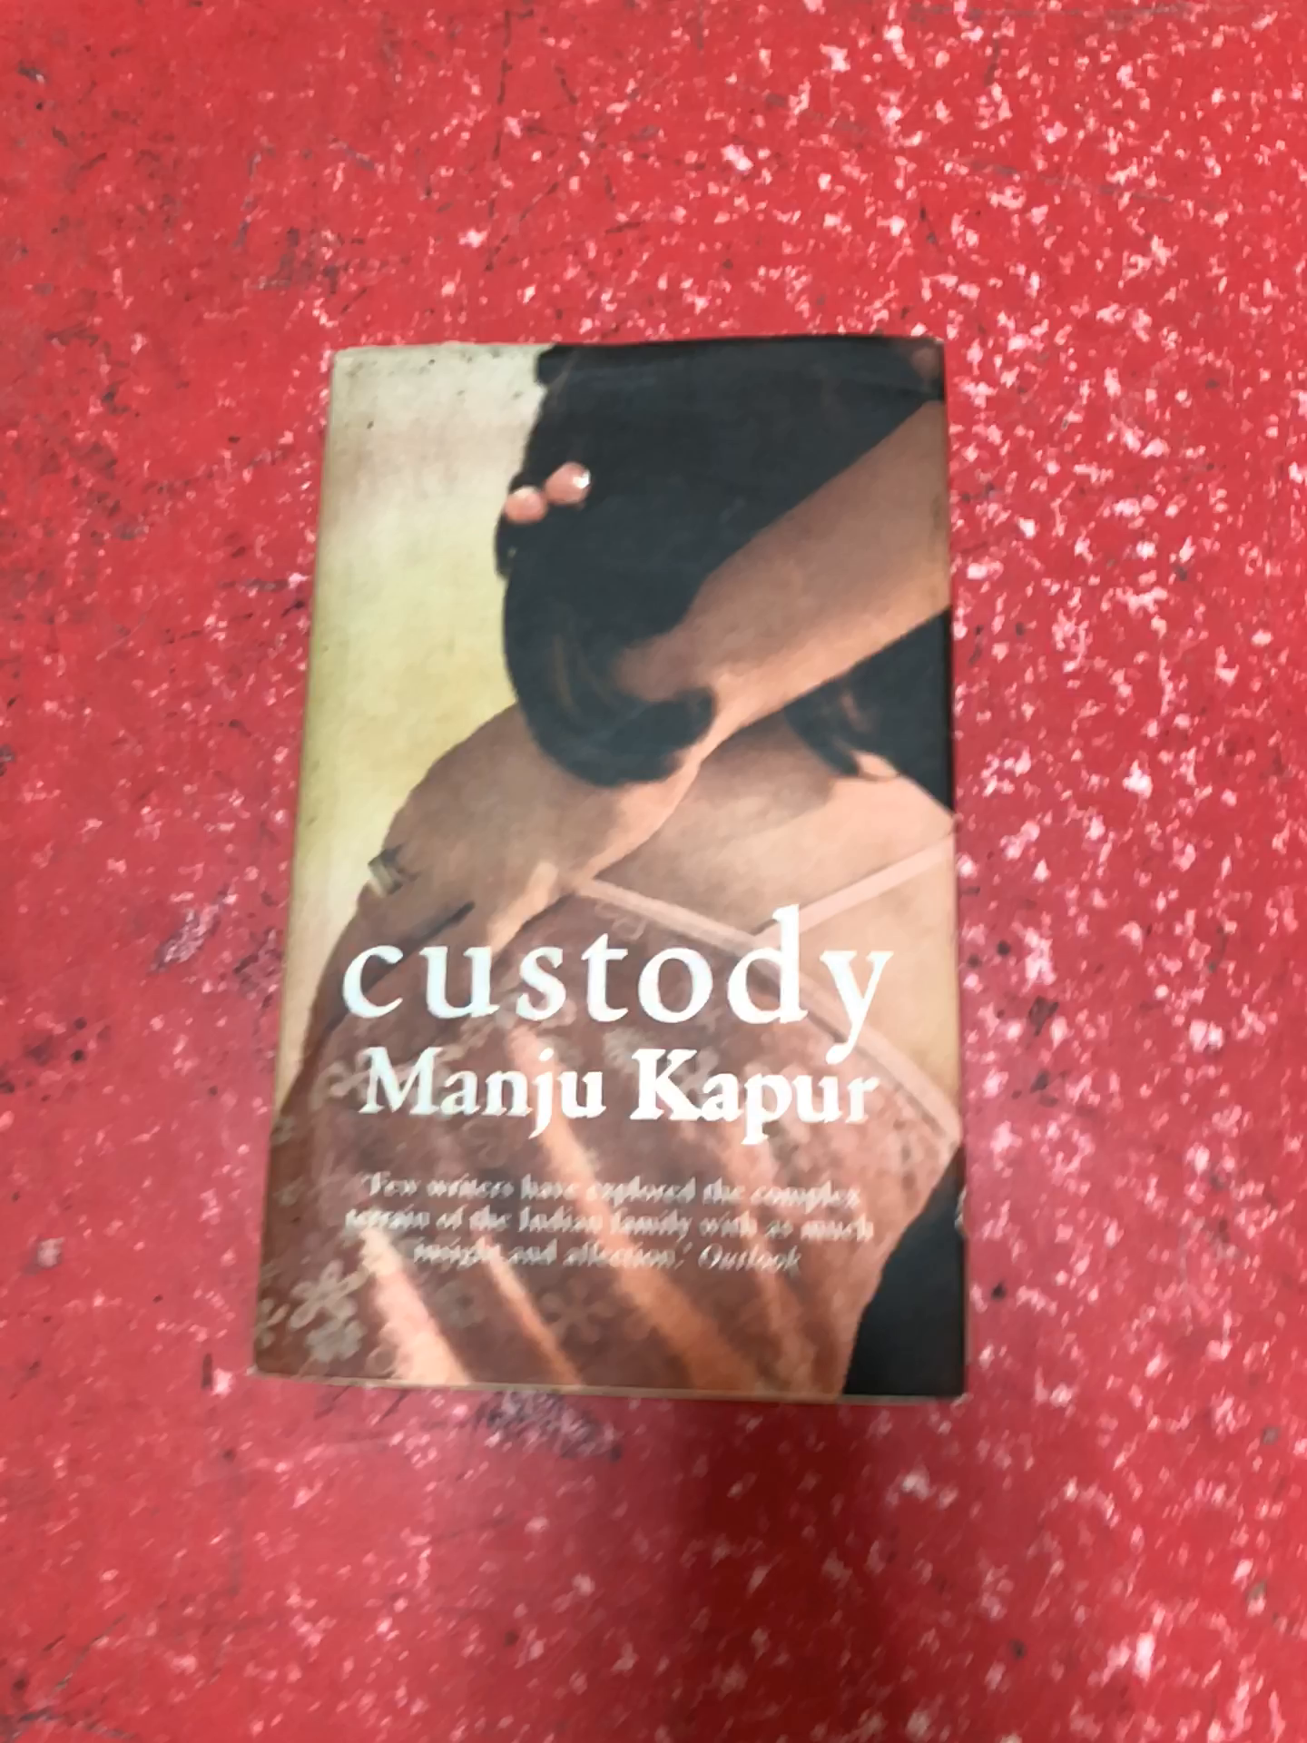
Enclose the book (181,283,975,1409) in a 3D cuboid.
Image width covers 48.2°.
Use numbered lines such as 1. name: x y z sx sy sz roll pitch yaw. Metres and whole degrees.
1. book: -0.012 -0.009 0.301 0.140 0.040 0.220 -1 76 5
